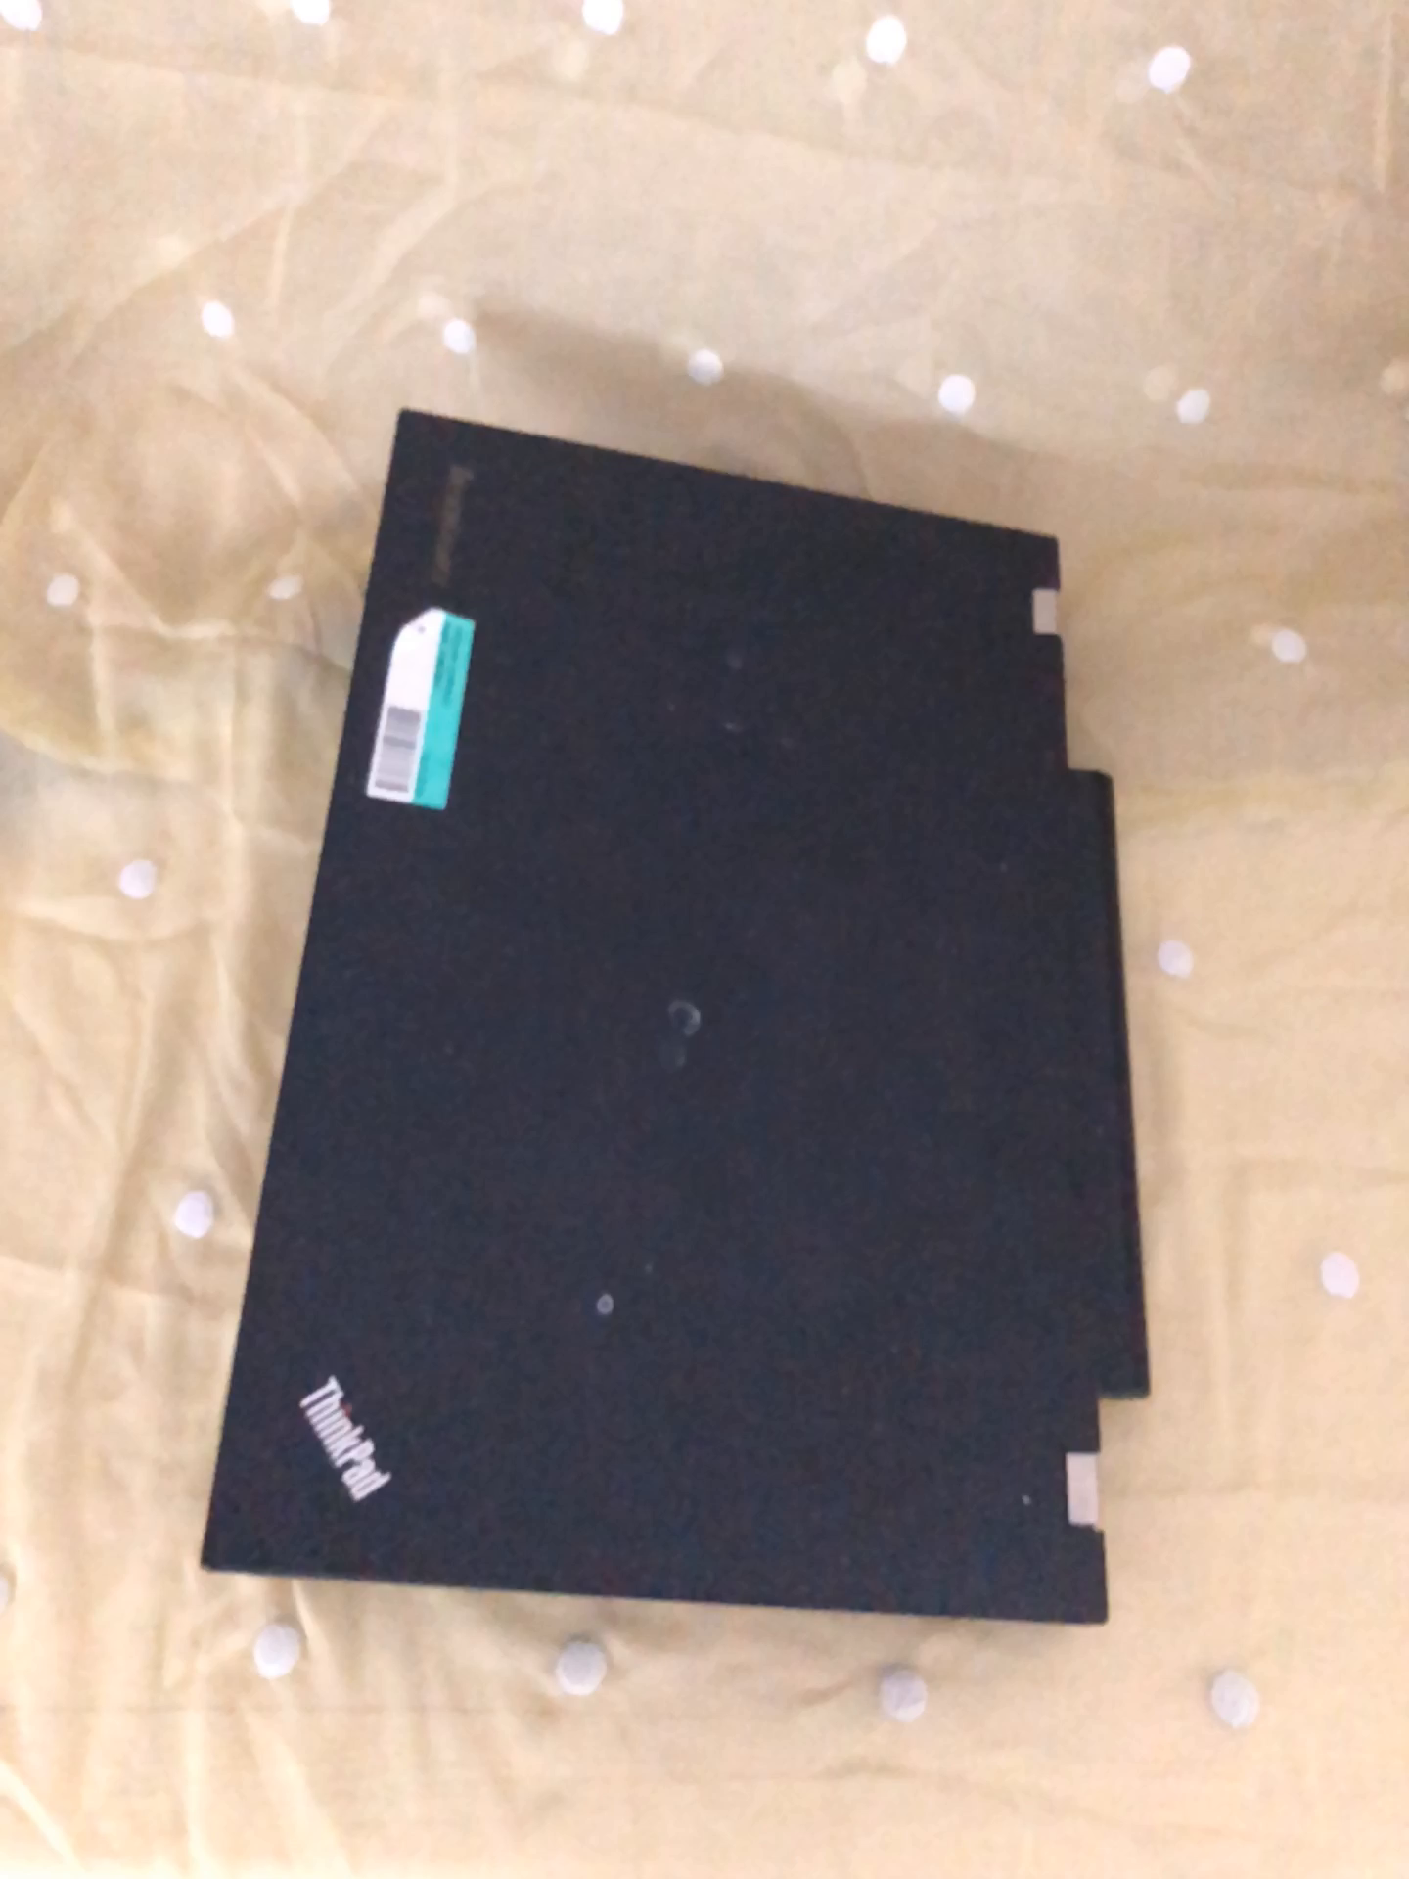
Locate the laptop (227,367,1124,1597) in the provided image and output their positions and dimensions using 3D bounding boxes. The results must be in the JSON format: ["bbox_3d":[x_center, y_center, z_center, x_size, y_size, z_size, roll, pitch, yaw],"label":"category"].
[{"bbox_3d":[0.002,-0.008,0.482,0.225,0.050,0.357,4,67,3],"label":"laptop"}]
